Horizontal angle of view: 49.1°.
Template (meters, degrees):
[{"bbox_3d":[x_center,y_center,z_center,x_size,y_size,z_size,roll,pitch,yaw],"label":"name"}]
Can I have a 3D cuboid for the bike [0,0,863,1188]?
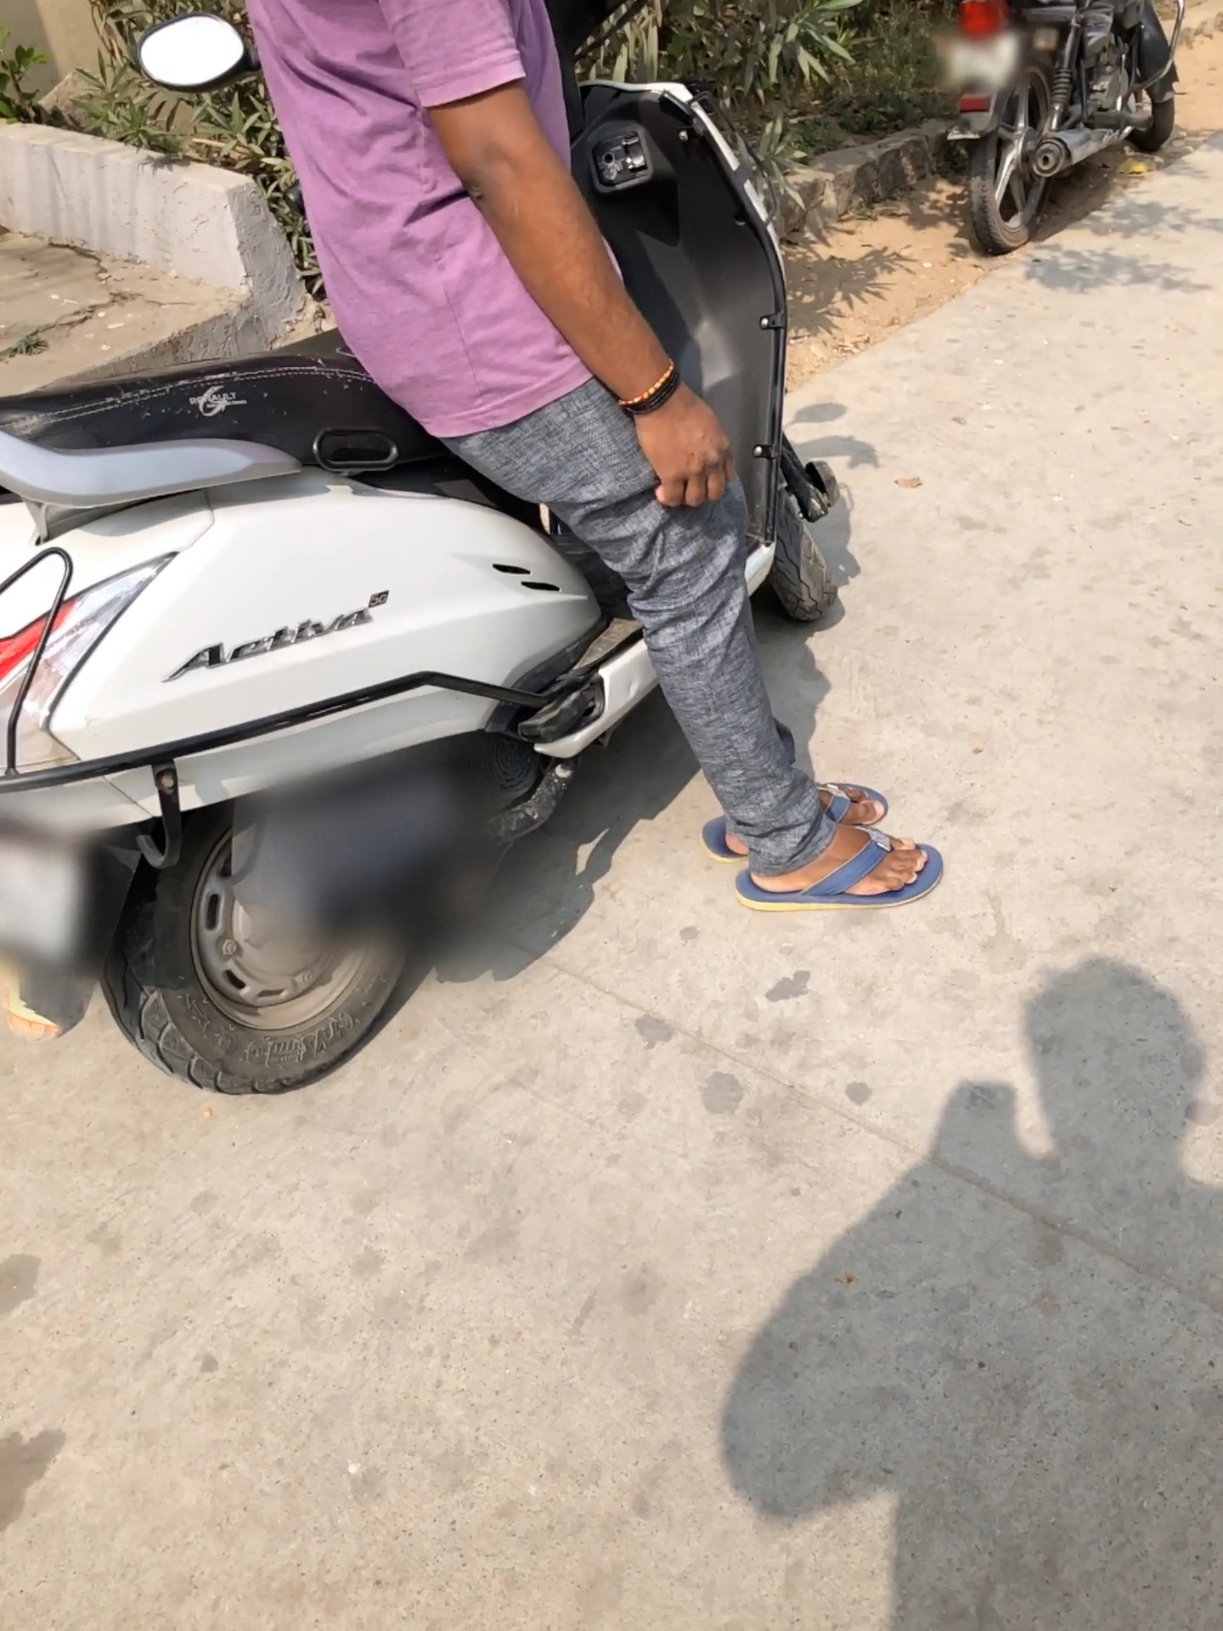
[{"bbox_3d":[-0.254,-0.525,1.748,0.647,1.008,1.530,16,43,24],"label":"bike"}]
